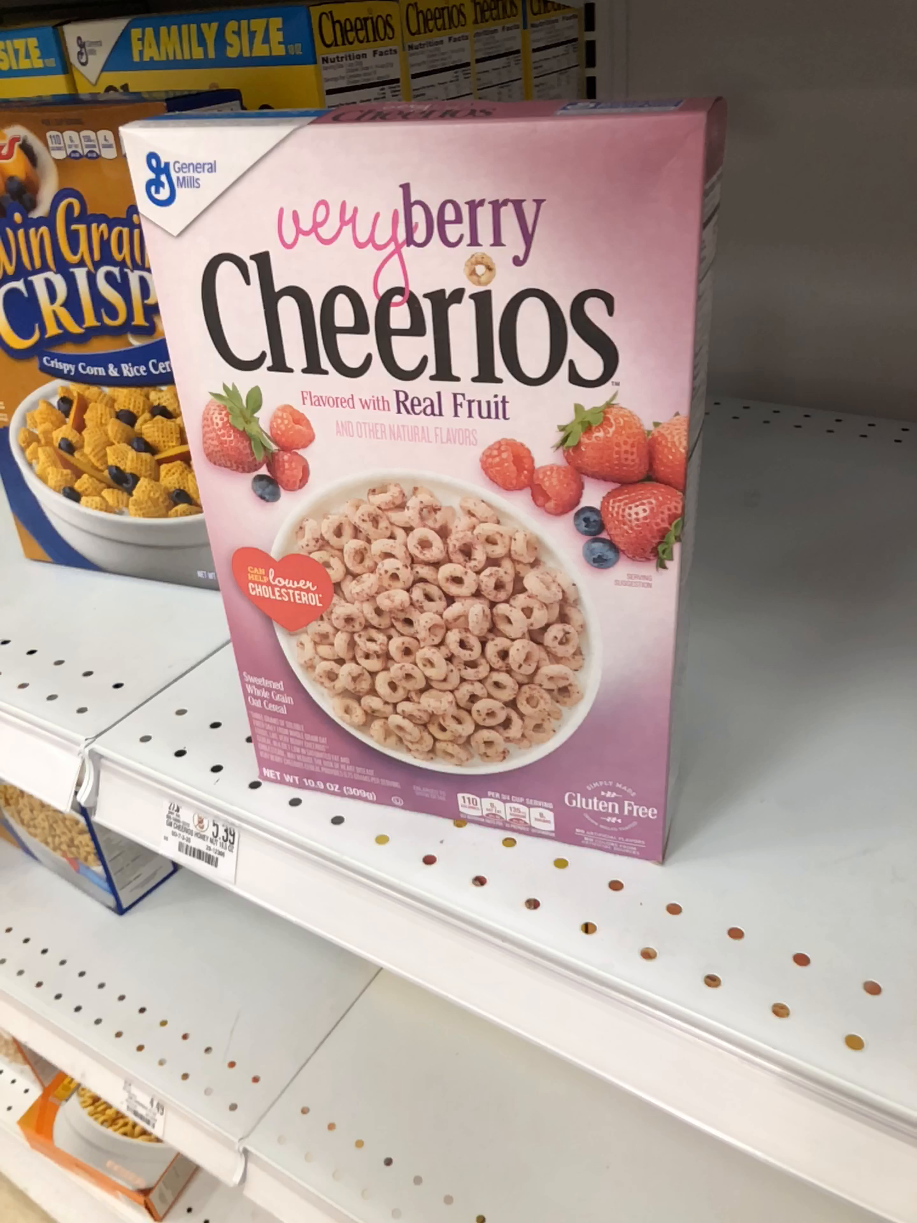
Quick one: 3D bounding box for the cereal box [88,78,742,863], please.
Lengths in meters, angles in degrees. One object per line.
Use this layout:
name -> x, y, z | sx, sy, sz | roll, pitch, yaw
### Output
cereal box -> -0.007, -0.044, 0.396 | 0.200, 0.279, 0.060 | 8, 35, 20
